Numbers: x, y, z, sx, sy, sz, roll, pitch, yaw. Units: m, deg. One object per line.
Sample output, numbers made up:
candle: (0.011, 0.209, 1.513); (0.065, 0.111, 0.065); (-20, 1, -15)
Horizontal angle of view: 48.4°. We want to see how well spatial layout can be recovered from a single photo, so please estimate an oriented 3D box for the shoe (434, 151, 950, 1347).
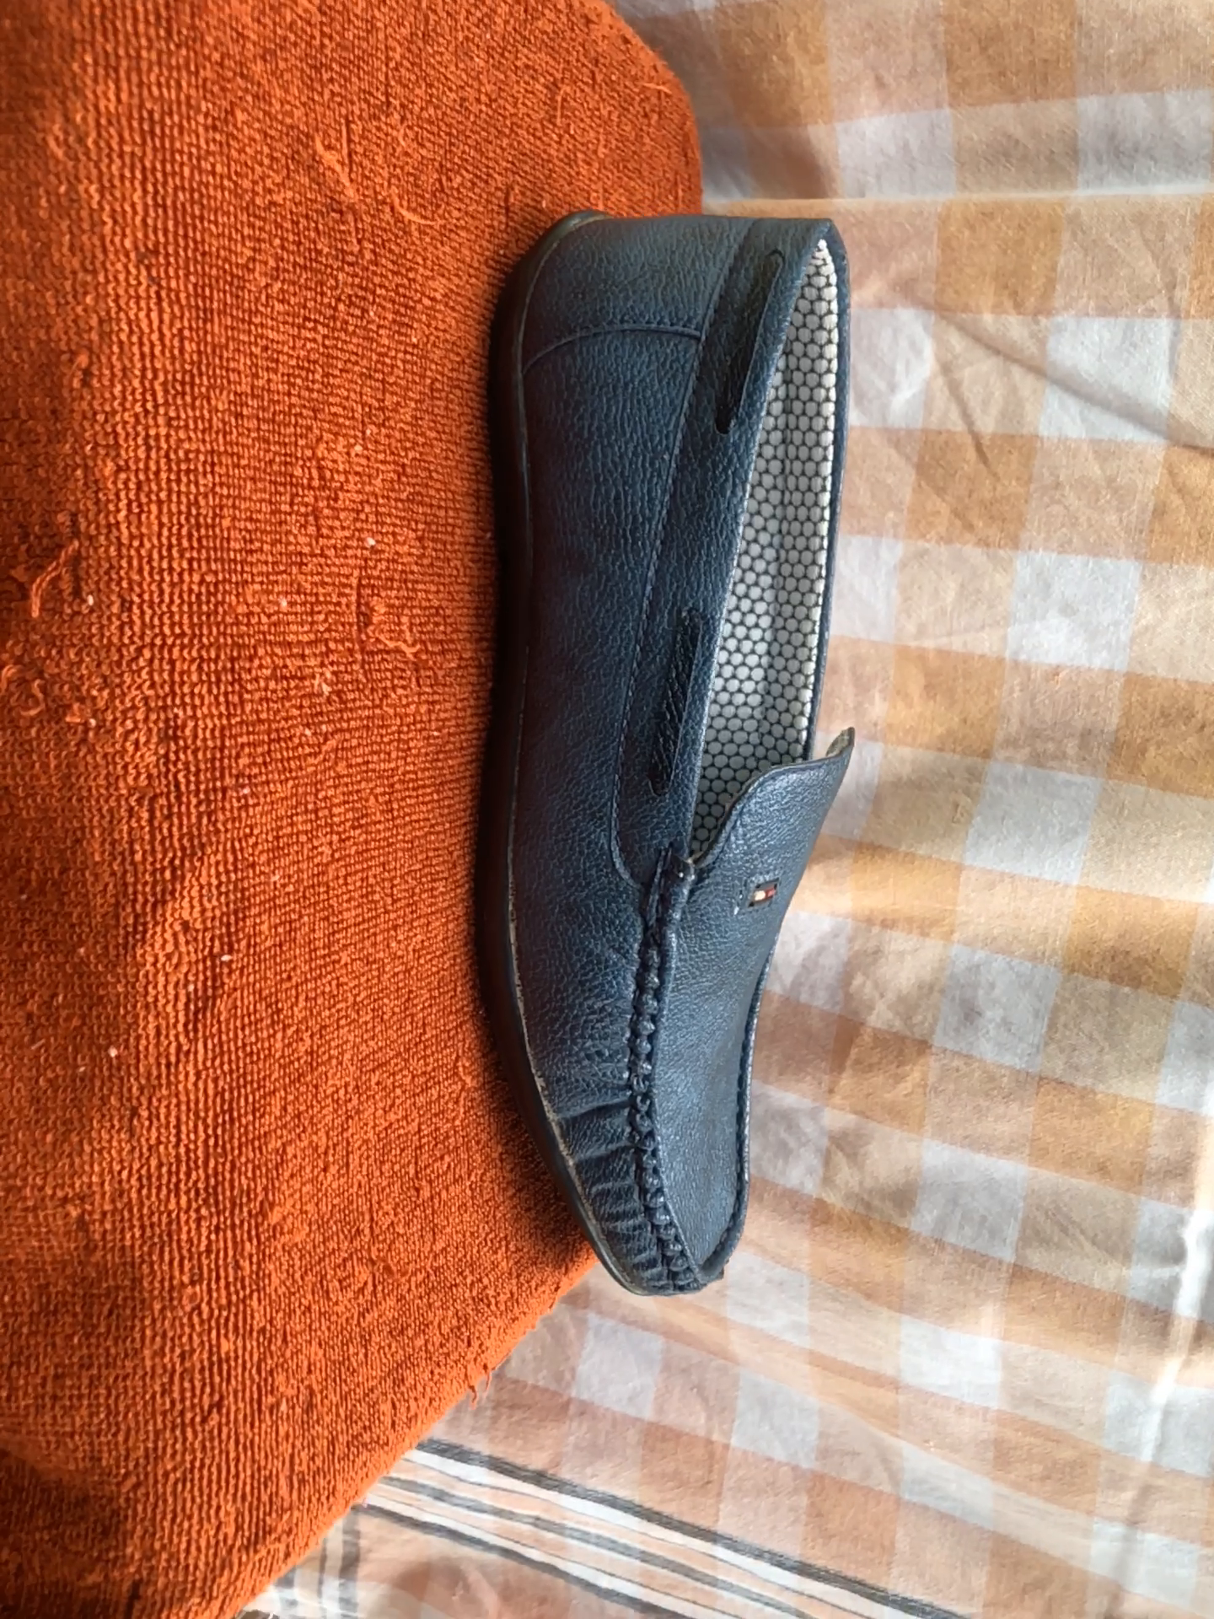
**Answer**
shoe: (0.024, -0.015, 0.355); (0.101, 0.089, 0.260); (-16, 110, -65)
